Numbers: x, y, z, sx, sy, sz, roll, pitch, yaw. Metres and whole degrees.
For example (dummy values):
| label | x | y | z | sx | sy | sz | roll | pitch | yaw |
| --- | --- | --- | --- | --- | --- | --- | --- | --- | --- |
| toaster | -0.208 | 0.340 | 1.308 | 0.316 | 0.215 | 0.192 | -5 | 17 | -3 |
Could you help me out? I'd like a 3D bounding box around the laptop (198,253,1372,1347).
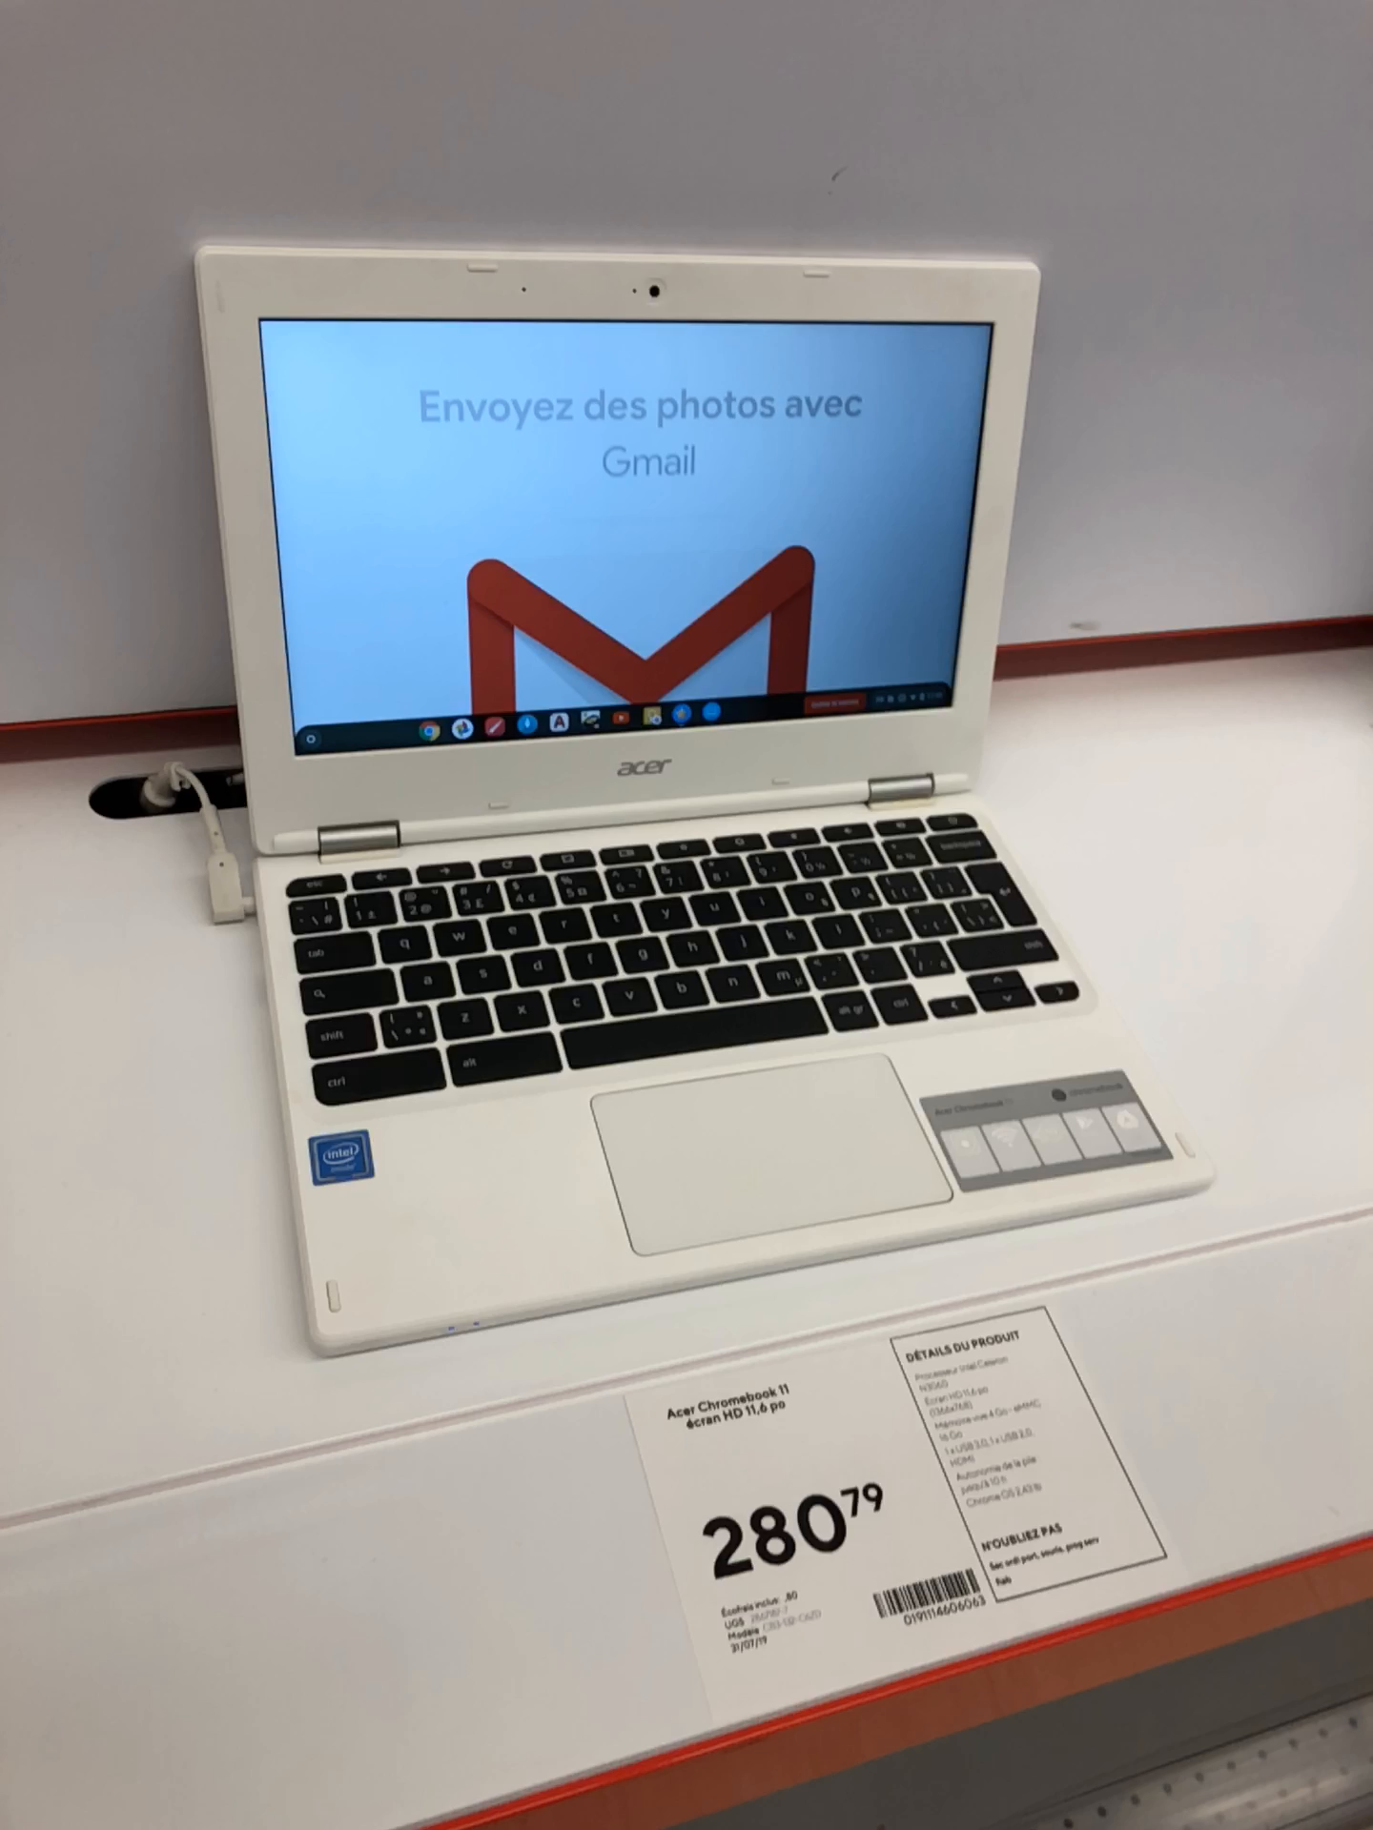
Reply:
| label | x | y | z | sx | sy | sz | roll | pitch | yaw |
| --- | --- | --- | --- | --- | --- | --- | --- | --- | --- |
| laptop | 0.012 | -0.056 | 0.473 | 0.282 | 0.188 | 0.260 | -7 | 47 | -17 |
